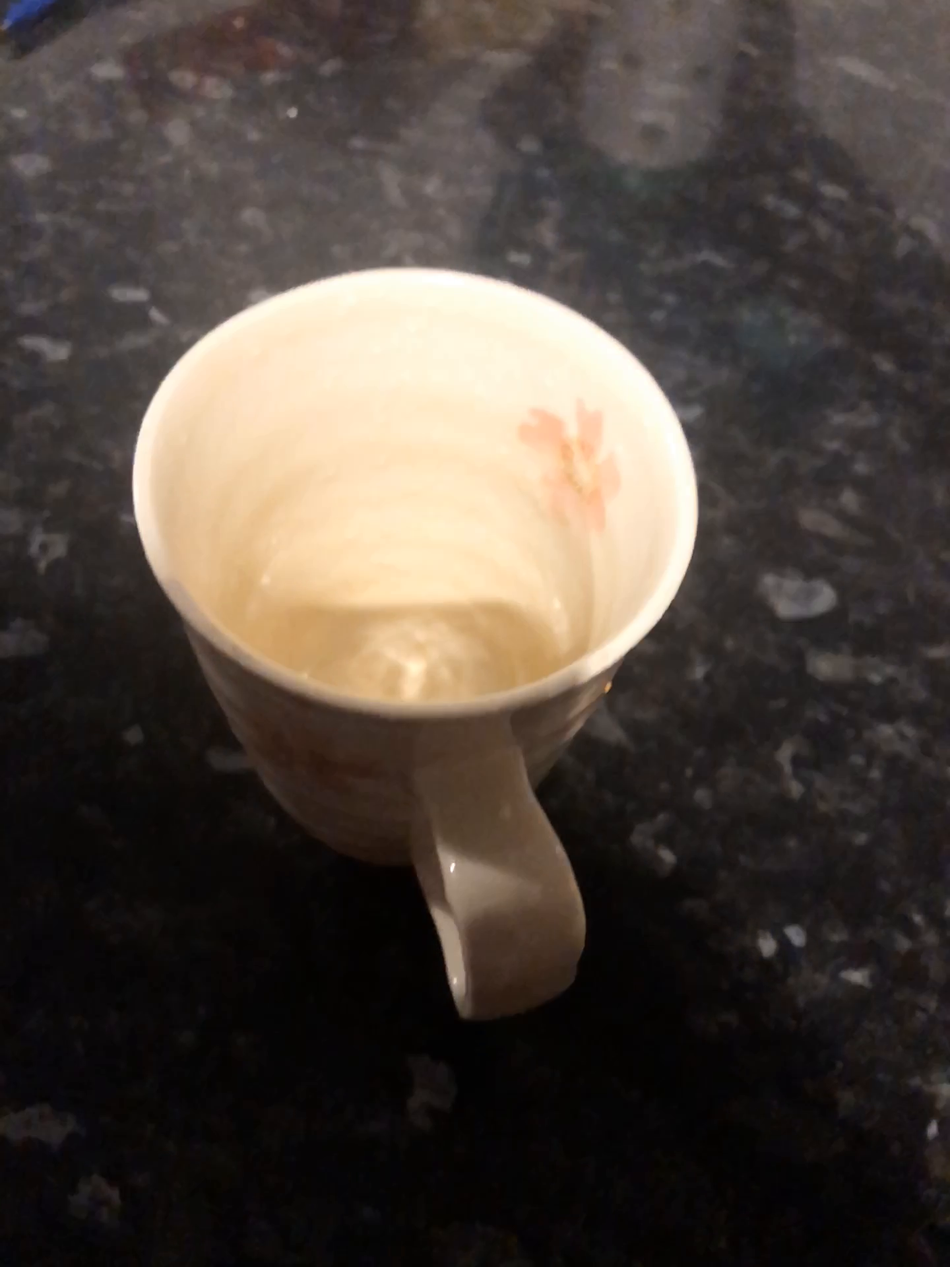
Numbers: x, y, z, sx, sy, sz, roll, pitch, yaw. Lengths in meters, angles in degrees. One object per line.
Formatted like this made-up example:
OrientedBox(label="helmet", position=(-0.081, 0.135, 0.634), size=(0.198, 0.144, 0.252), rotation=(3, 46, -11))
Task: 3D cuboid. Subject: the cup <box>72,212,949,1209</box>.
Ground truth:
OrientedBox(label="cup", position=(-0.006, 0.014, 0.191), size=(0.090, 0.100, 0.130), rotation=(-13, 61, -13))
